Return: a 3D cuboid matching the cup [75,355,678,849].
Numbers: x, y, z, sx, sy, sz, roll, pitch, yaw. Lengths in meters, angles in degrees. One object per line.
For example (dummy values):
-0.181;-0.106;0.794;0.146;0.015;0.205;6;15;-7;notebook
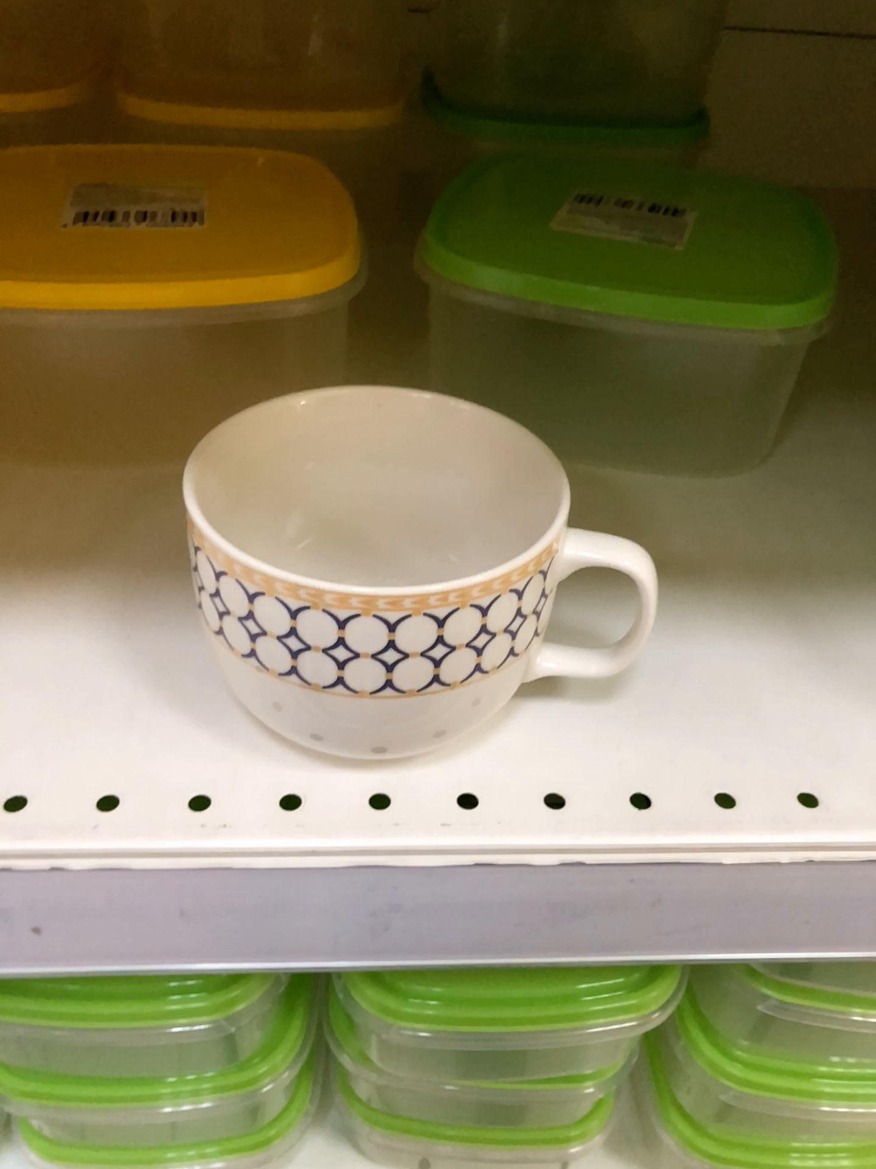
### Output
-0.010;-0.003;0.282;0.134;0.062;0.105;14;41;11;cup
